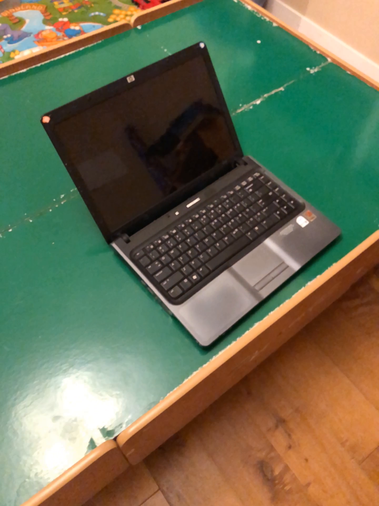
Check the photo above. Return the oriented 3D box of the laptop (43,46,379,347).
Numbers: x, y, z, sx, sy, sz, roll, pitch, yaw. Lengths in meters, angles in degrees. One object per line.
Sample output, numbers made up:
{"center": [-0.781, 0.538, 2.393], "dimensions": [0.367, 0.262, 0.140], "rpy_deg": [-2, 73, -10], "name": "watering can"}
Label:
{"center": [0.023, -0.114, 0.681], "dimensions": [0.323, 0.172, 0.375], "rpy_deg": [-35, 65, -22], "name": "laptop"}
